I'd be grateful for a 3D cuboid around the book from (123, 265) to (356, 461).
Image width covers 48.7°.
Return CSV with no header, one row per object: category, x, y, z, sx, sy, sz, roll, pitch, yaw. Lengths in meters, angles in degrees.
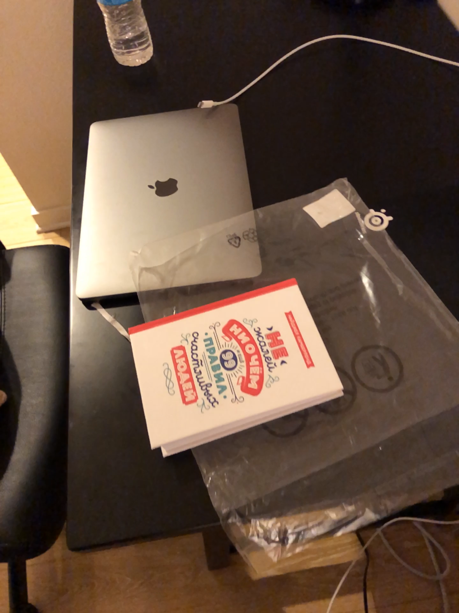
book,0.004,0.050,0.501,0.190,0.030,0.140,-18,58,-5
